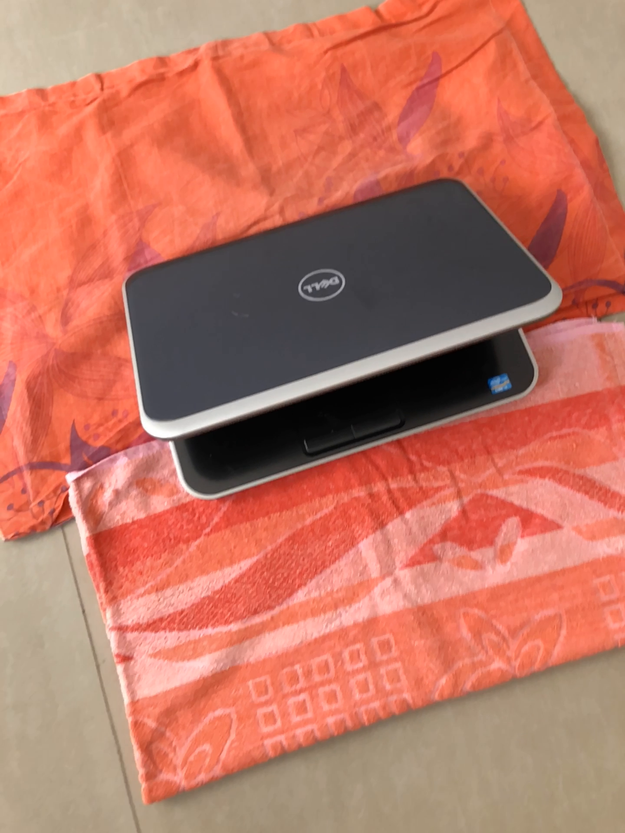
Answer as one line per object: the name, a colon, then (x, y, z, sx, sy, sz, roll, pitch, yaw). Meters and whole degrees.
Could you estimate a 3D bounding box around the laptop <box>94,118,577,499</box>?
laptop: (0.014, -0.096, 0.640, 0.345, 0.129, 0.241, -17, 76, -5)
